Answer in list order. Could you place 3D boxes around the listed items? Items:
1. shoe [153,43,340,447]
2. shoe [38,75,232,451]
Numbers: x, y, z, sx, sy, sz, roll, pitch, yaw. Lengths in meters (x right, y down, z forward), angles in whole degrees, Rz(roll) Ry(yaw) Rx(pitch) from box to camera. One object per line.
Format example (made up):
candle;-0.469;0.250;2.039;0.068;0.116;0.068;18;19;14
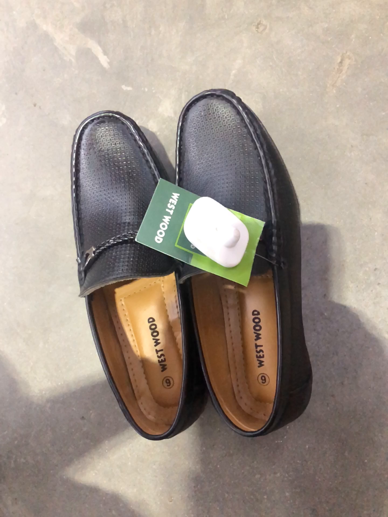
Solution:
shoe;0.043;-0.007;0.342;0.090;0.070;0.280;-11;84;20
shoe;-0.048;0.003;0.370;0.100;0.070;0.280;-12;84;9
